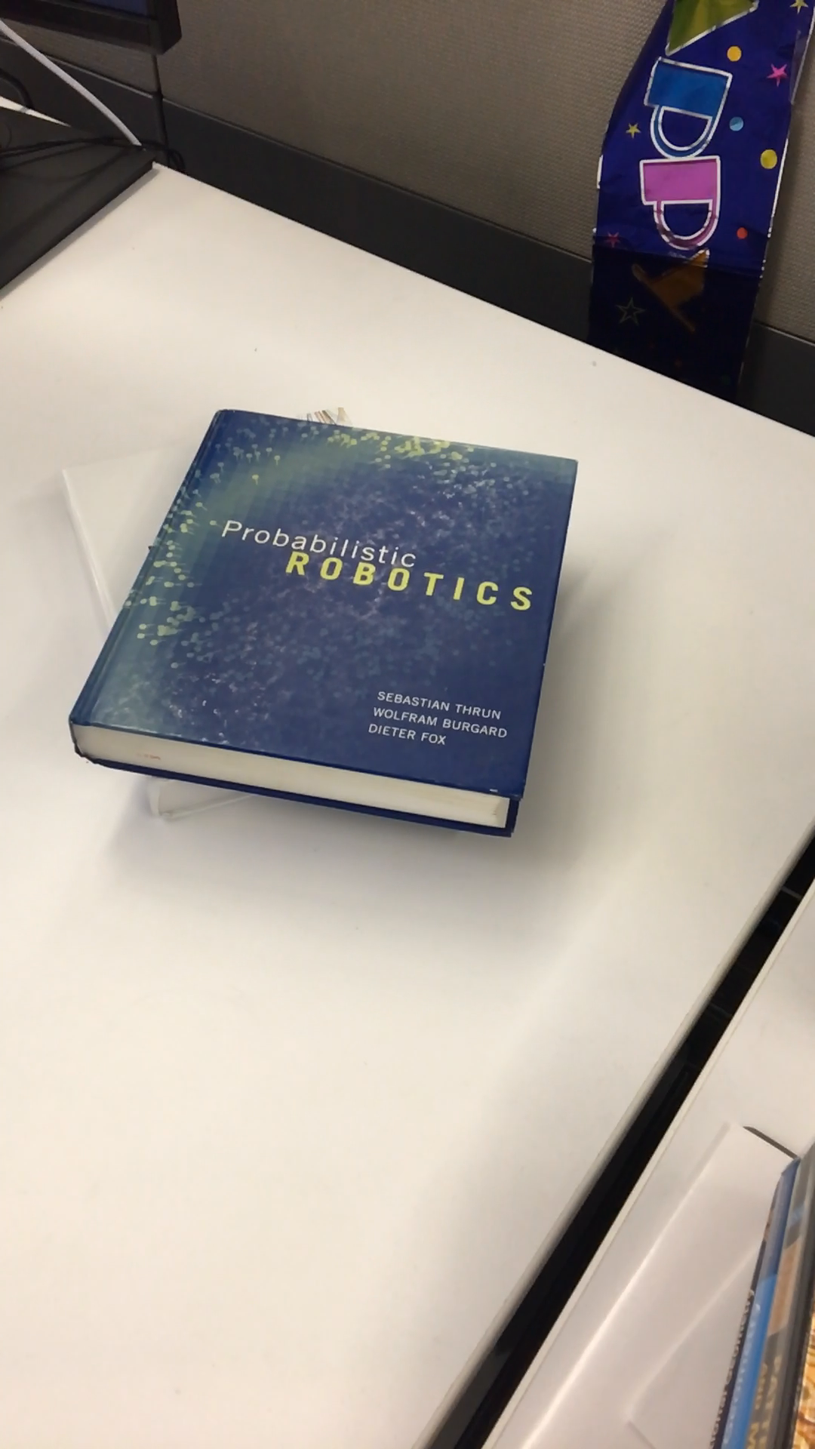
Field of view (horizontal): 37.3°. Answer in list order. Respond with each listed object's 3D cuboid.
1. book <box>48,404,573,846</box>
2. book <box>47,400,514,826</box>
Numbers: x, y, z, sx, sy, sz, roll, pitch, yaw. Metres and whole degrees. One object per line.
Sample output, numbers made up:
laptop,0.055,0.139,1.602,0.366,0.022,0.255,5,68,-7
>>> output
book,-0.035,-0.063,0.611,0.210,0.030,0.240,8,53,6
book,-0.078,-0.075,0.662,0.190,0.030,0.240,-16,54,-13
